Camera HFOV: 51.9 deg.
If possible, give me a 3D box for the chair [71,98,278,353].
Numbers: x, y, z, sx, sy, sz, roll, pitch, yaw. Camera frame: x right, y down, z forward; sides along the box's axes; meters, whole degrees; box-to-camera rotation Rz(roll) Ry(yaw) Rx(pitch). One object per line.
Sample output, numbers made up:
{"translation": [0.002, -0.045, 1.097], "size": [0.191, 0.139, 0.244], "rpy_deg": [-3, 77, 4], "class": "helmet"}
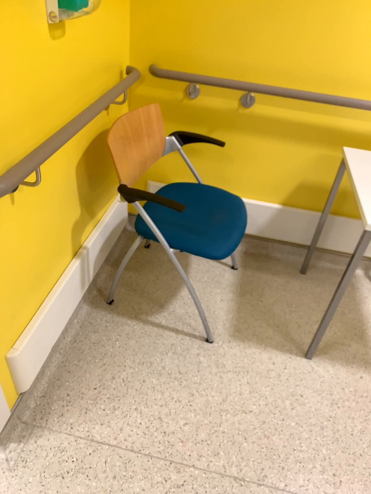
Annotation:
{"translation": [-0.030, -0.108, 1.627], "size": [0.590, 0.779, 0.575], "rpy_deg": [16, 38, 13], "class": "chair"}
